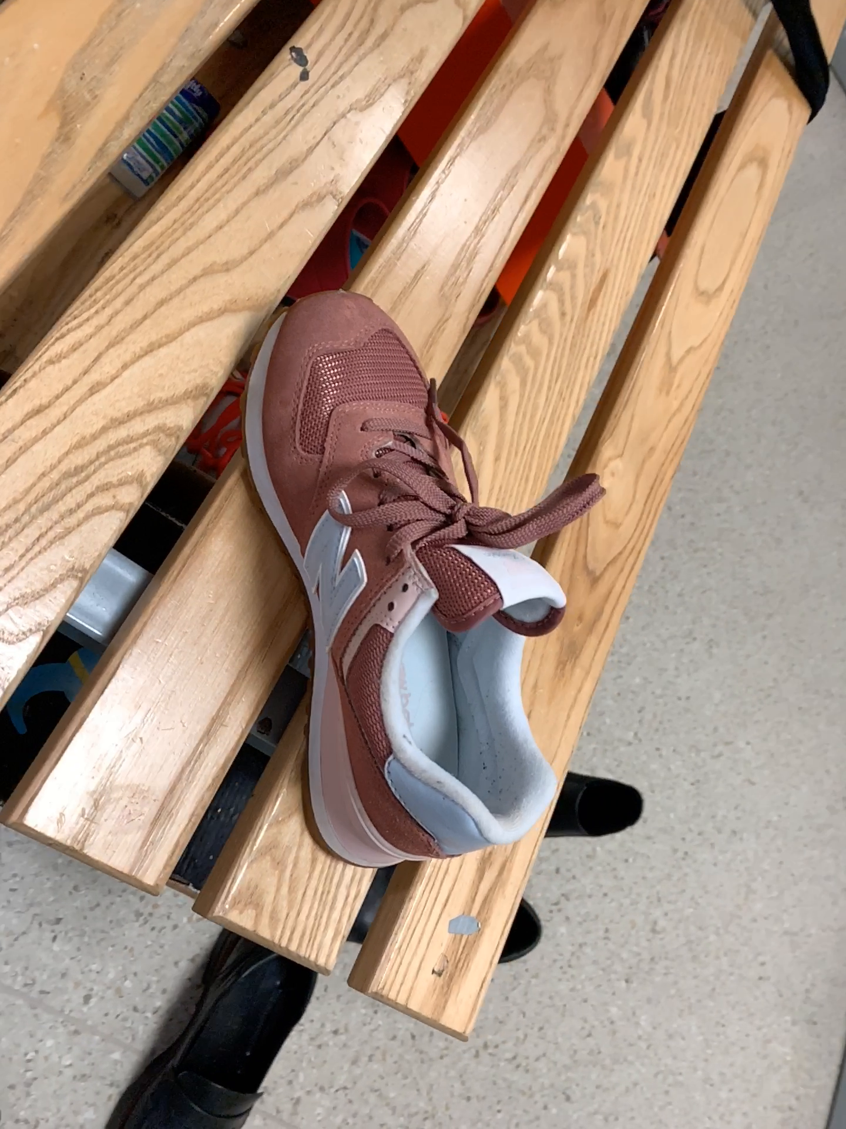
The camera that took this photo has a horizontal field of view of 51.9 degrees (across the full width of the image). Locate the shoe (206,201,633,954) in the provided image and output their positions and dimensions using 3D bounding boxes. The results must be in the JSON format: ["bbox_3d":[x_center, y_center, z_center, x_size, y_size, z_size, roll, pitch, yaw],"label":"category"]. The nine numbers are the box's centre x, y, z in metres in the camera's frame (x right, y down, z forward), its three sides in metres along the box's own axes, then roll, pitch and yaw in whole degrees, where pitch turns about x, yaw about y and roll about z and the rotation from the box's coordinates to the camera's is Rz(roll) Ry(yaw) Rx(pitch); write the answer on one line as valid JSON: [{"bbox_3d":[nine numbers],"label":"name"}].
[{"bbox_3d":[-0.005,0.003,0.371,0.110,0.105,0.259,-5,86,-36],"label":"shoe"}]
